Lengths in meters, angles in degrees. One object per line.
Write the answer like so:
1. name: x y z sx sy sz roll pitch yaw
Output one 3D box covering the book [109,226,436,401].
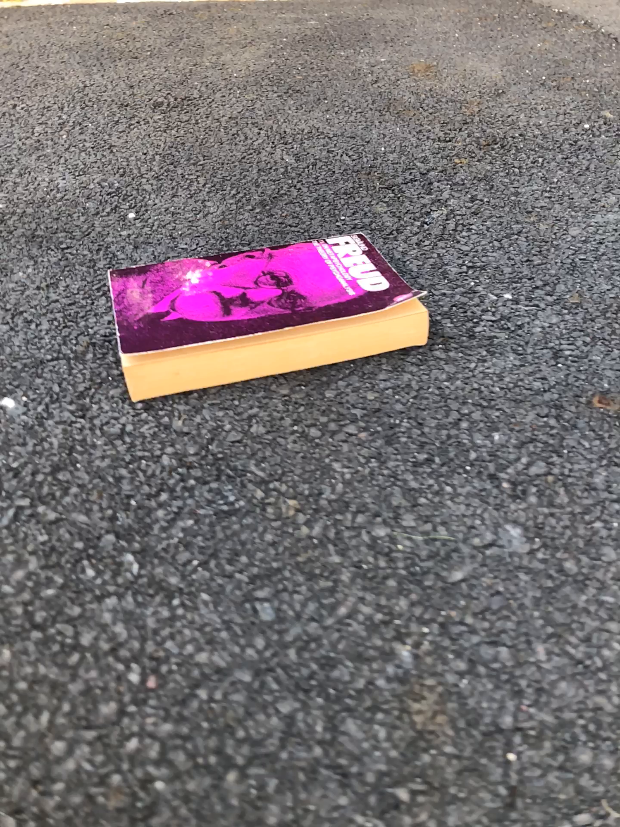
1. book: -0.032 -0.076 0.465 0.195 0.031 0.131 -11 39 -12
